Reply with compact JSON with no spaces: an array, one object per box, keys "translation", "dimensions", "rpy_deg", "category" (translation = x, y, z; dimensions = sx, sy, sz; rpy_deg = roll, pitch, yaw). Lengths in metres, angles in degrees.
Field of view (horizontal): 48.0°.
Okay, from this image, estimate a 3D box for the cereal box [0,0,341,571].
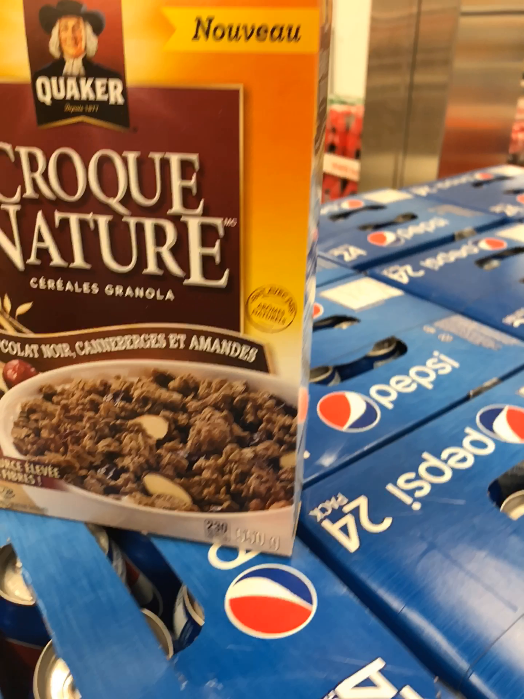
[{"translation":[-0.056,-0.023,0.252],"dimensions":[0.160,0.229,0.060],"rpy_deg":[6,30,12],"category":"cereal box"}]
